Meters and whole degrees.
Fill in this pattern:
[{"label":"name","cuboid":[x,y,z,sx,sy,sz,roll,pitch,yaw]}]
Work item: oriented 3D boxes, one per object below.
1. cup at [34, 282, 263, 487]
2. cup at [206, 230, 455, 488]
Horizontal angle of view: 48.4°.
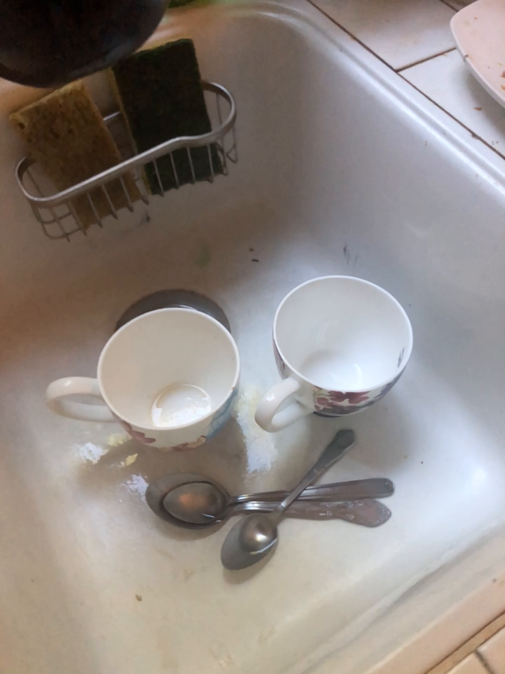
[{"label":"cup","cuboid":[-0.074,0.033,0.409,0.140,0.070,0.101,-12,58,-8]},{"label":"cup","cuboid":[0.058,0.012,0.428,0.110,0.070,0.151,35,63,20]}]
